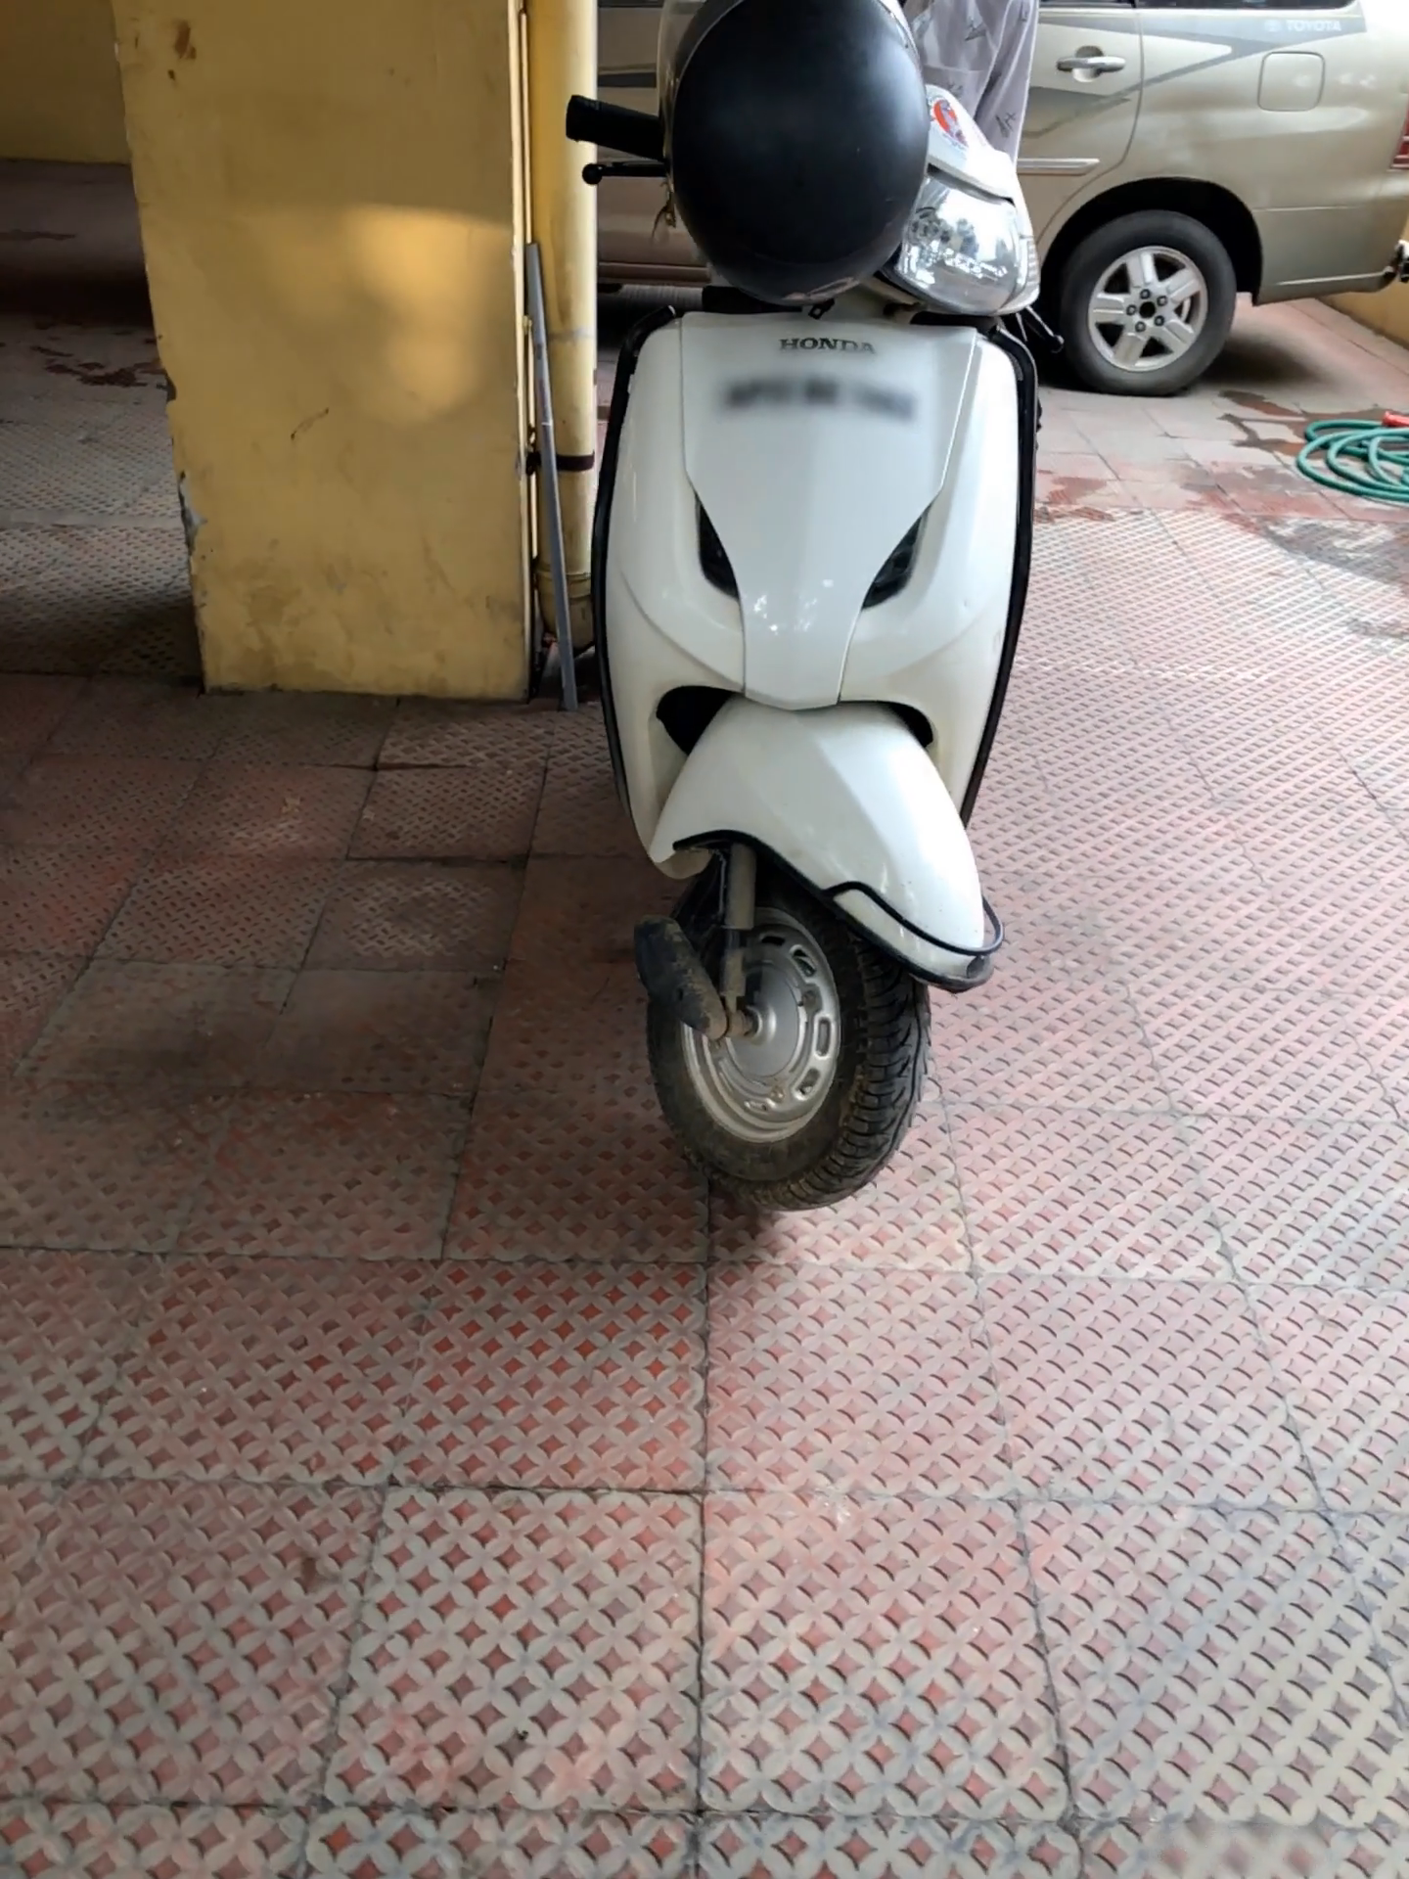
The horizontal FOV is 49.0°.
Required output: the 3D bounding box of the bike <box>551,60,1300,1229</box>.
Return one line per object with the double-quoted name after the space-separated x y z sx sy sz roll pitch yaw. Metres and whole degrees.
0.183 -0.528 2.214 0.657 1.108 1.398 3 34 0 "bike"
